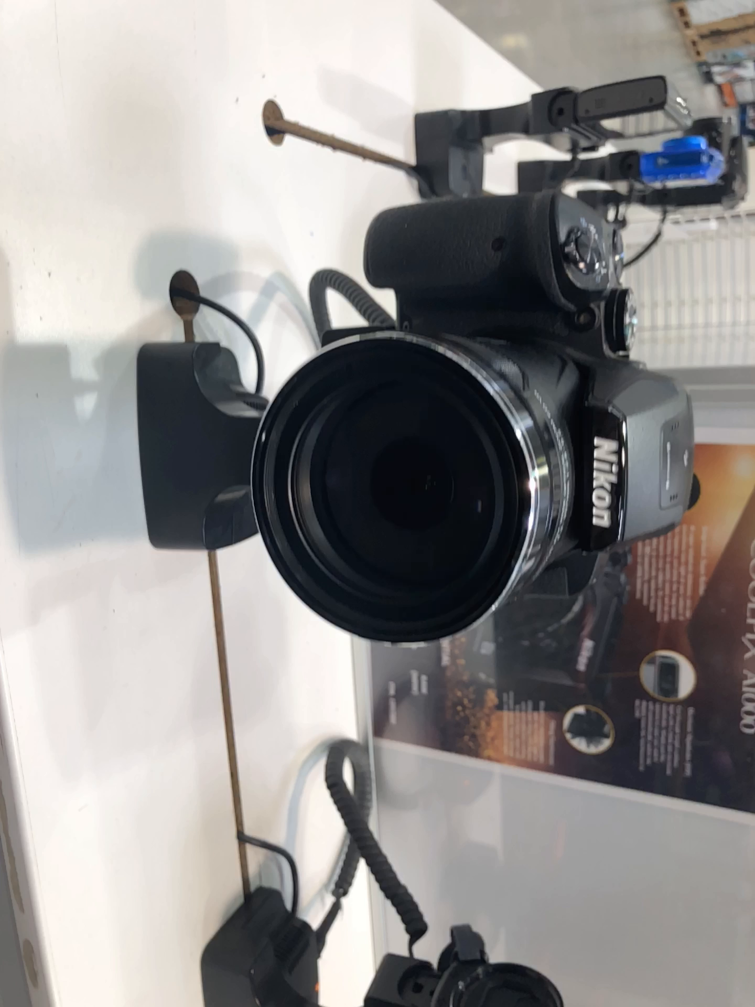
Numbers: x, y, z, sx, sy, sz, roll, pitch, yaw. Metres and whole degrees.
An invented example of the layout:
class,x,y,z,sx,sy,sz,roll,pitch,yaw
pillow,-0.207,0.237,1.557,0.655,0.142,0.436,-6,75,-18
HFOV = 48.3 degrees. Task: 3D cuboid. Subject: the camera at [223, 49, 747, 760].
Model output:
class,x,y,z,sx,sy,sz,roll,pitch,yaw
camera,0.047,-0.029,0.257,0.151,0.109,0.140,-20,111,-63
